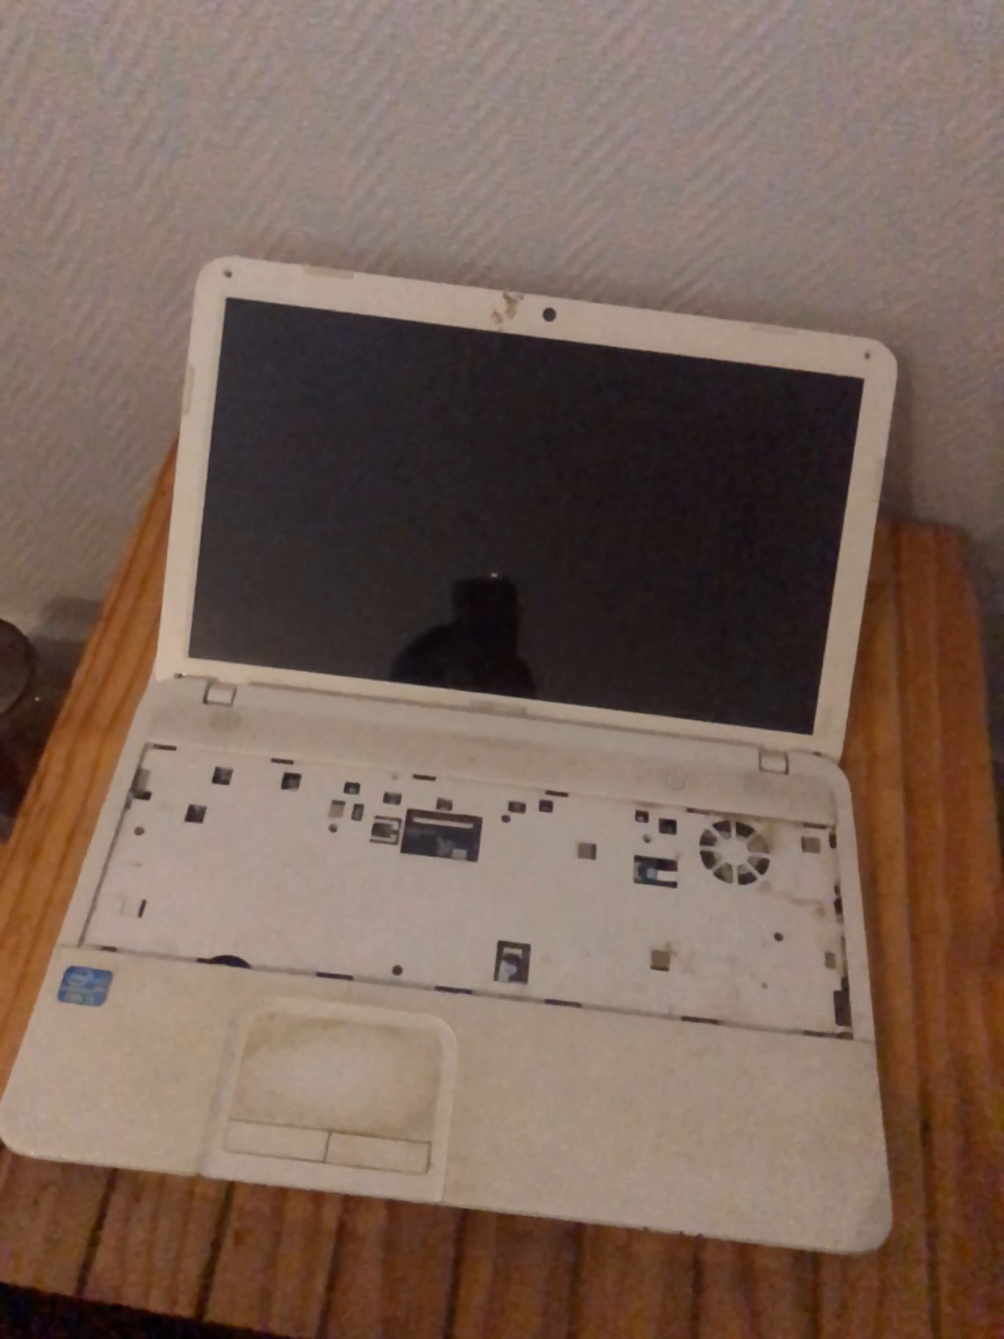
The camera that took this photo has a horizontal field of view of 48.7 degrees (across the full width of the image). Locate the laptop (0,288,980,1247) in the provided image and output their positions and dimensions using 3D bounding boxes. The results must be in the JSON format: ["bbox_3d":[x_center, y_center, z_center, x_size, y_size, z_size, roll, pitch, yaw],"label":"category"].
[{"bbox_3d":[-0.014,0.015,0.530,0.371,0.118,0.419,7,55,0],"label":"laptop"}]
